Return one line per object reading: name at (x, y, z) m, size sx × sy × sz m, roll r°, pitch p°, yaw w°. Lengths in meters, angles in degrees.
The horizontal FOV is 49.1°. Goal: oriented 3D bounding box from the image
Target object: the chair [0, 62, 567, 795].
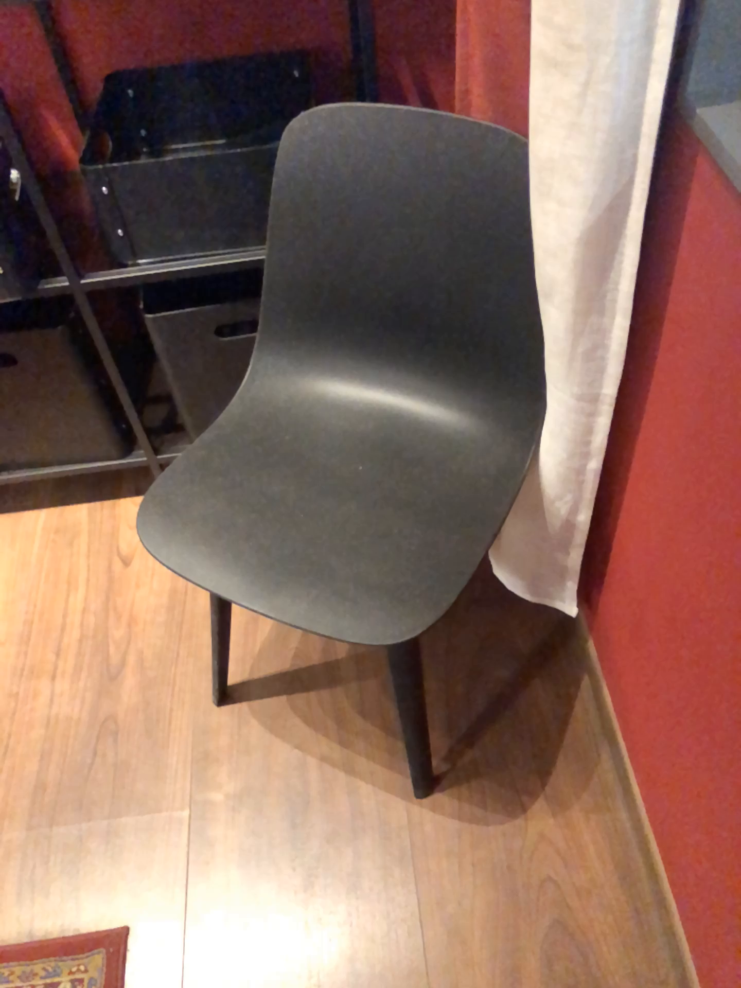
chair at (-0.063, -0.045, 1.038) m, size 0.411 × 0.726 × 0.482 m, roll 18°, pitch 55°, yaw 19°
